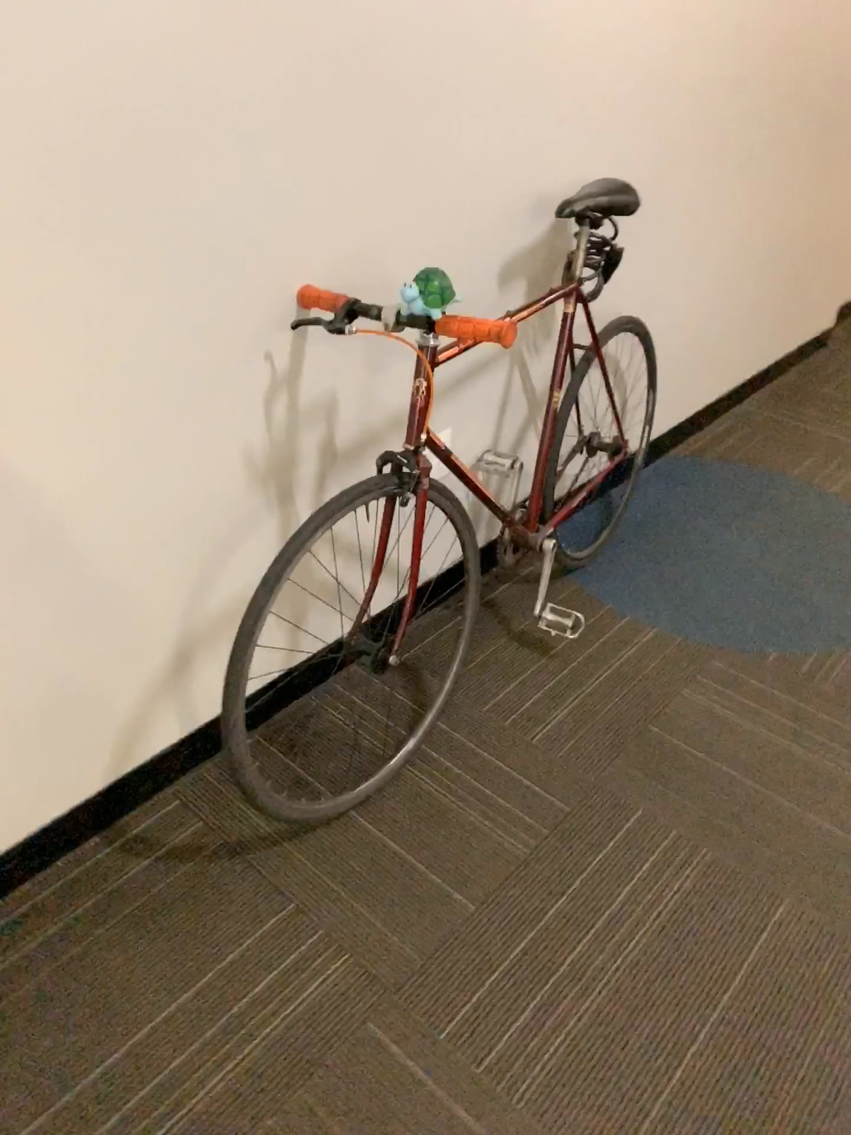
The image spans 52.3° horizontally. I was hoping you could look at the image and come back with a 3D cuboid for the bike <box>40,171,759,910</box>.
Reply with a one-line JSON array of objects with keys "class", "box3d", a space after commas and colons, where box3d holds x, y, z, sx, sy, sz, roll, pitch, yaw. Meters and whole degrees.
[{"class": "bike", "box3d": [0.131, -0.232, 1.871, 0.450, 0.909, 1.630, 22, 39, 28]}]
